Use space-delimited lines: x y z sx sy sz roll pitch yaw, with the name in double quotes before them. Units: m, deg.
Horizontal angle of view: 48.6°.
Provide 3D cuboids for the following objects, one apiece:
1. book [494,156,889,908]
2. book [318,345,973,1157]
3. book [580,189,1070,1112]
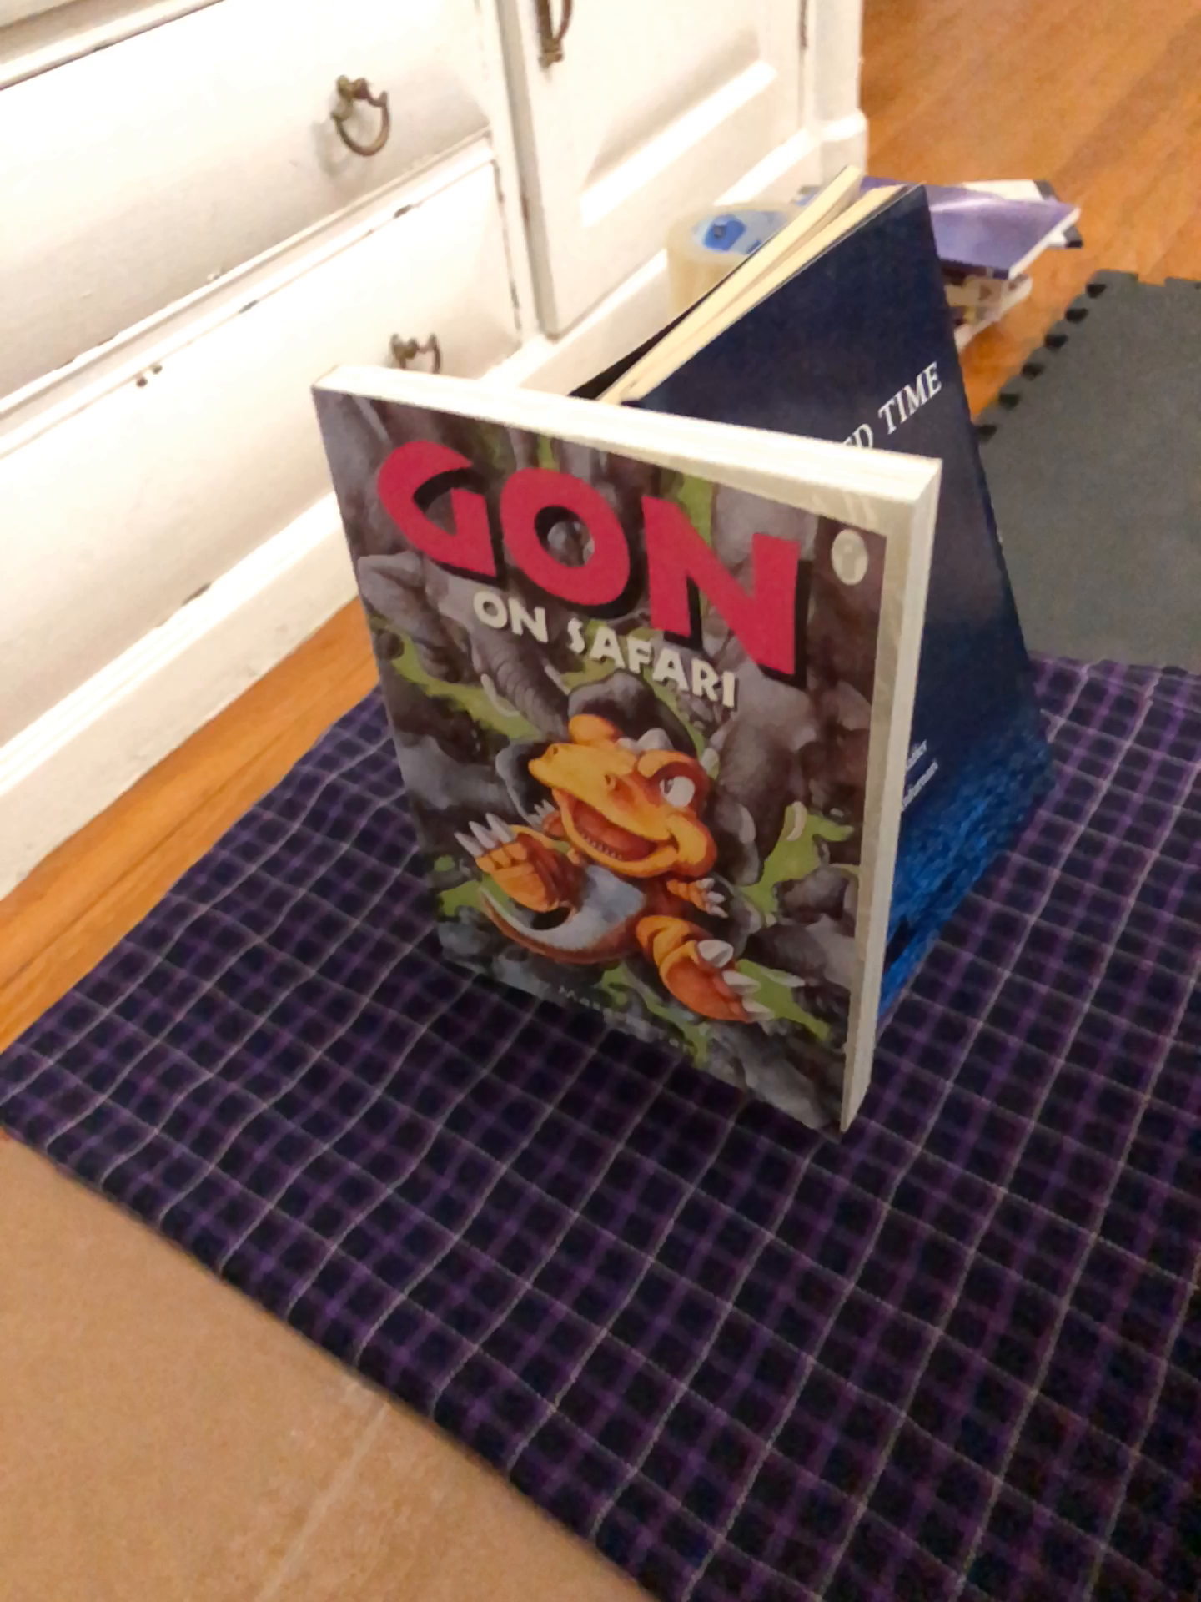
"book" 0.021 -0.070 0.400 0.010 0.199 0.141 31 54 10
"book" 0.008 -0.005 0.328 0.140 0.189 0.020 17 42 24
"book" 0.077 -0.040 0.364 0.010 0.199 0.151 3 39 41
